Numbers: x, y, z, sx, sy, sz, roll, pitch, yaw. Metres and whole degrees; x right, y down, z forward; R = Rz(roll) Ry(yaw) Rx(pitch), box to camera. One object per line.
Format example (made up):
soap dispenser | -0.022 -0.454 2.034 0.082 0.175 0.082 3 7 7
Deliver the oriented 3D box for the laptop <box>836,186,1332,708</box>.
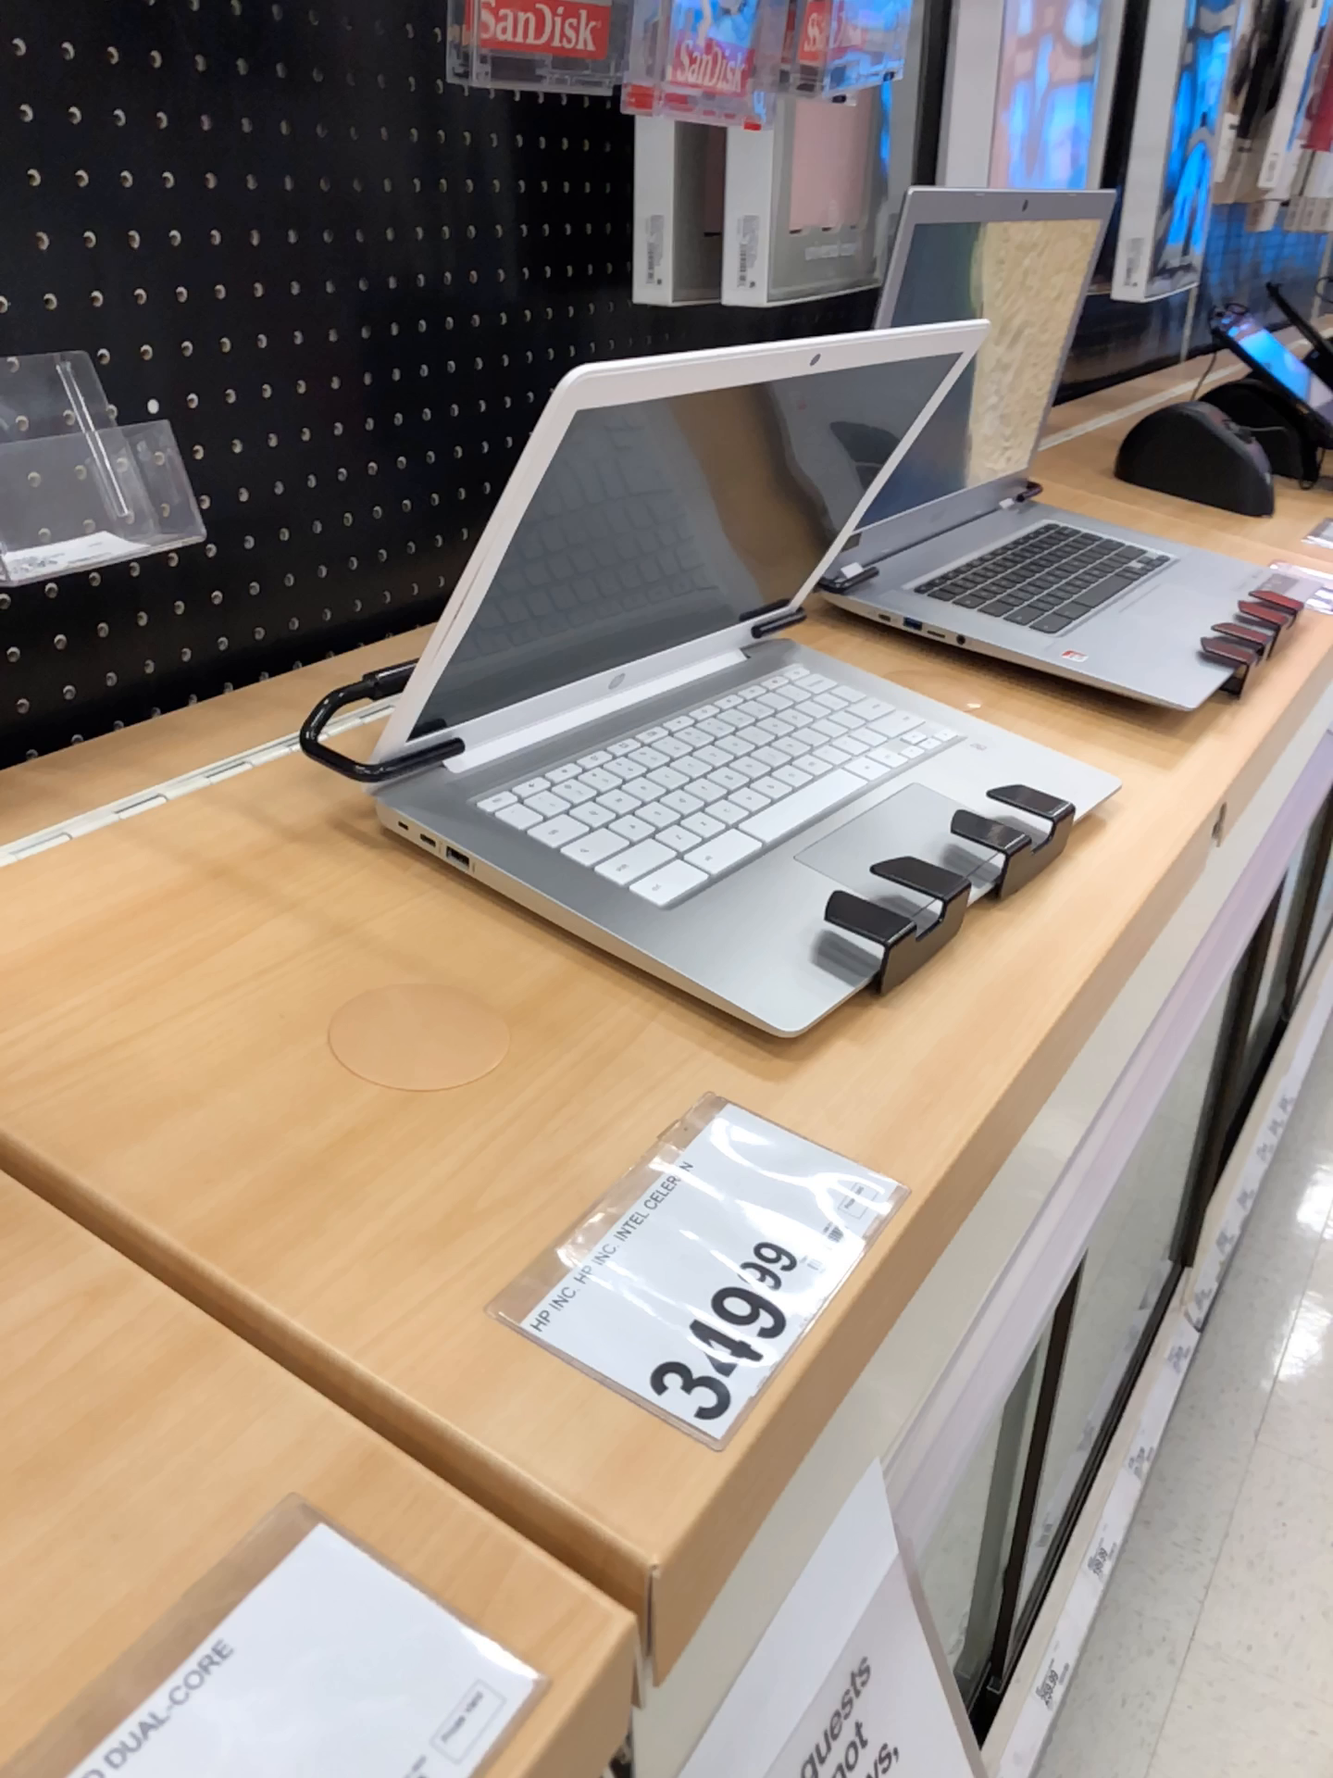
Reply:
laptop | 0.300 -0.310 0.956 0.230 0.231 0.321 21 33 29

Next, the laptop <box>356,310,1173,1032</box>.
laptop | 0.060 -0.126 0.644 0.200 0.172 0.323 25 34 27
